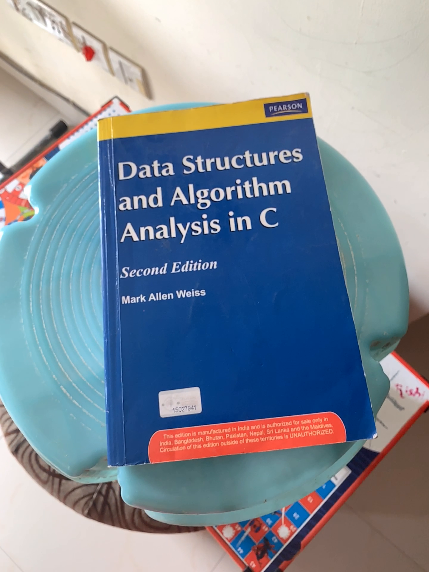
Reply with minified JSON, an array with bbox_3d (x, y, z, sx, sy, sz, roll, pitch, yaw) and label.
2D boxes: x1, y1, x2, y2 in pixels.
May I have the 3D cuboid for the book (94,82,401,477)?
[{"bbox_3d":[0.009,-0.016,0.292,0.160,0.030,0.241,-7,73,0],"label":"book"}]
